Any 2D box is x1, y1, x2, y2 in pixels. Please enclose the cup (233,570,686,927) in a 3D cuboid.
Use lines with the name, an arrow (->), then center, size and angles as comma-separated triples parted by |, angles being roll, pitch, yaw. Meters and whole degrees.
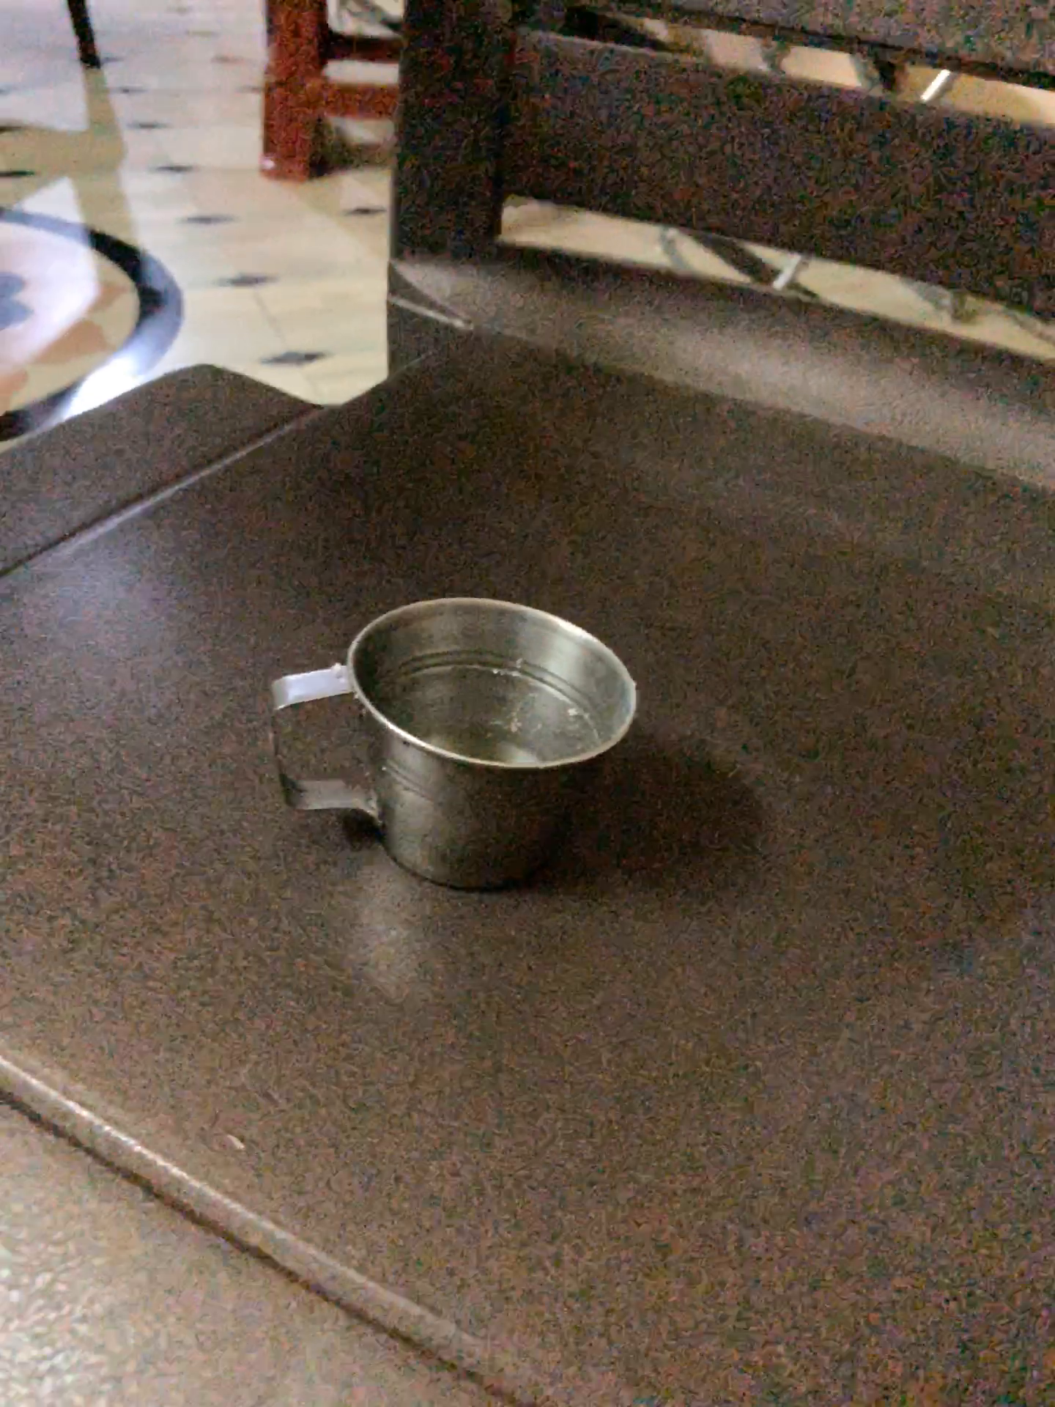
cup -> -0.019, 0.006, 0.226 | 0.080, 0.040, 0.060 | -2, 42, -15
